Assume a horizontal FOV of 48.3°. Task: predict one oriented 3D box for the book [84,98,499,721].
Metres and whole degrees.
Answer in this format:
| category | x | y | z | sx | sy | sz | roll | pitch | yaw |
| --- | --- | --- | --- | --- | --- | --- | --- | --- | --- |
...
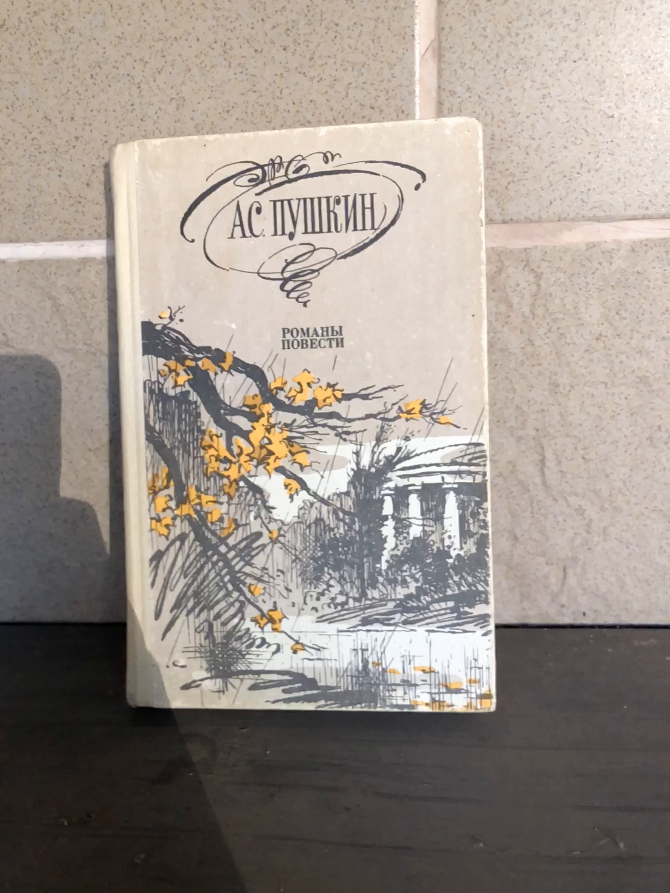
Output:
| category | x | y | z | sx | sy | sz | roll | pitch | yaw |
| --- | --- | --- | --- | --- | --- | --- | --- | --- | --- |
| book | -0.012 | -0.007 | 0.255 | 0.130 | 0.198 | 0.020 | -1 | 6 | 7 |
